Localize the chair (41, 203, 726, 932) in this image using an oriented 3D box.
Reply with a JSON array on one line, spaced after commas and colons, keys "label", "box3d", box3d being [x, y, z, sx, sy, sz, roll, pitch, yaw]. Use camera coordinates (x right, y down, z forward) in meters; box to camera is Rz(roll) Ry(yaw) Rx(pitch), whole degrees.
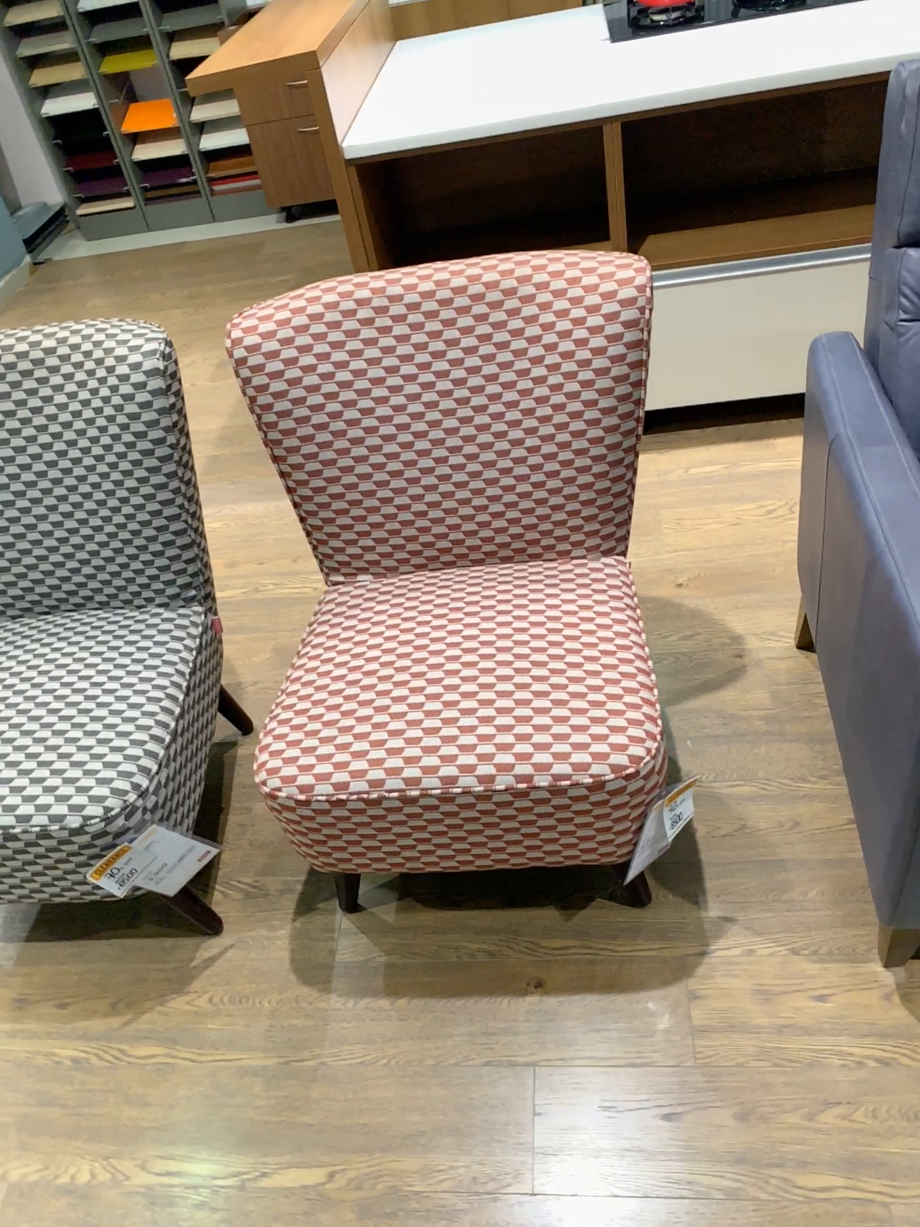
[{"label": "chair", "box3d": [-0.005, -0.029, 1.438, 0.700, 0.866, 0.612, -5, 41, 9]}]
